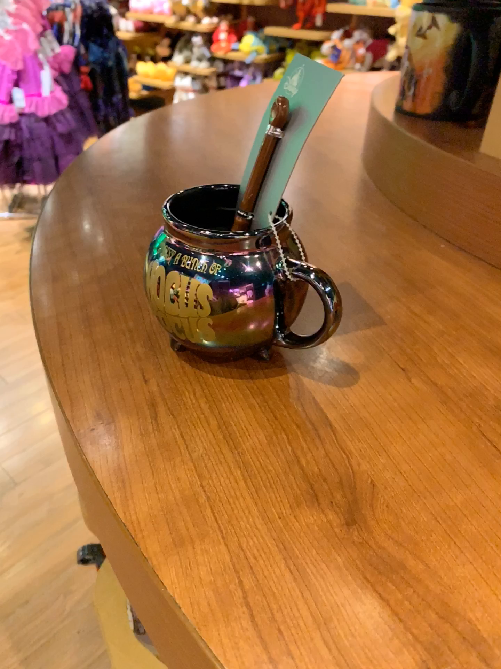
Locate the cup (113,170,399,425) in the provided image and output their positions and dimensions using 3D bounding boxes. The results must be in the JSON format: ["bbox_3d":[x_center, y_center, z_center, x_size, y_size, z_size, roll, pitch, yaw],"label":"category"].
[{"bbox_3d":[0.002,-0.034,0.330,0.136,0.089,0.101,25,41,31],"label":"cup"}]
